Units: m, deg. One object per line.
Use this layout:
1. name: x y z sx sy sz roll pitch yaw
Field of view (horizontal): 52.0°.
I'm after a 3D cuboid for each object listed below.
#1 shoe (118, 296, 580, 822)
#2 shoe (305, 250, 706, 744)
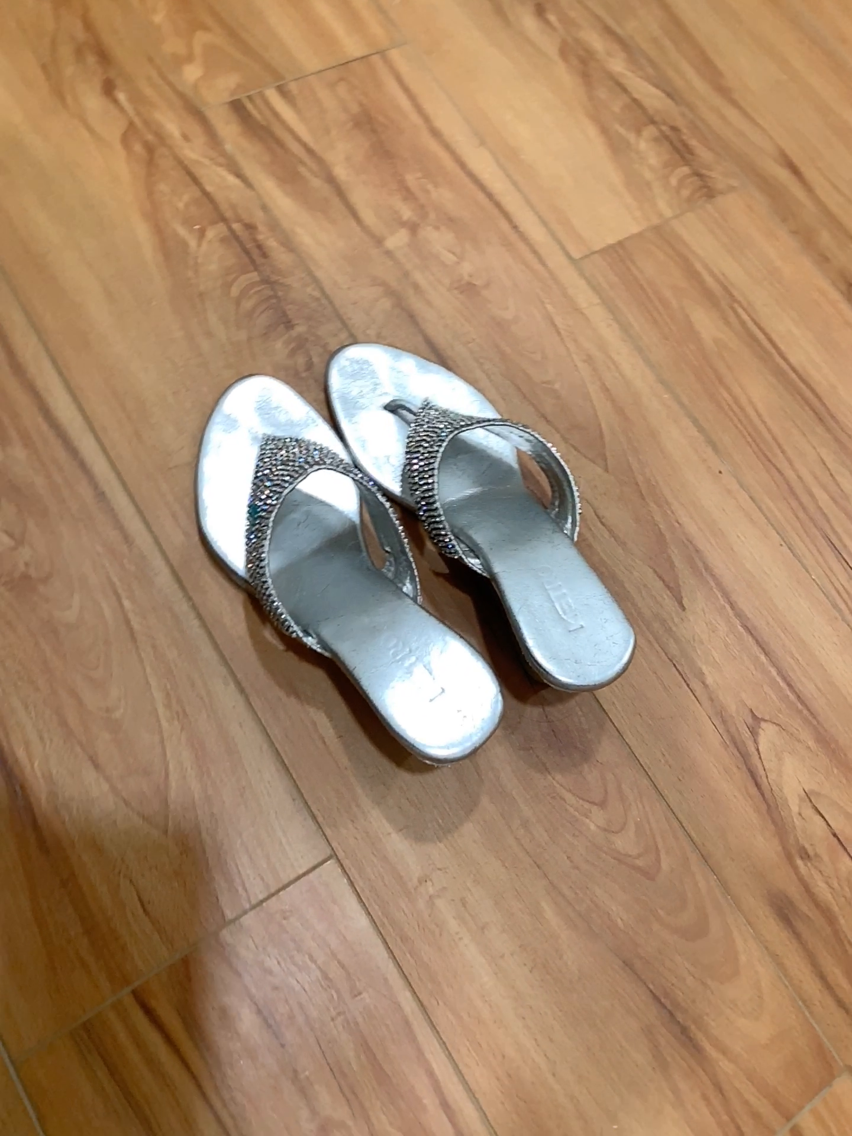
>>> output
1. shoe: -0.042 -0.006 0.421 0.095 0.073 0.228 -31 78 -19
2. shoe: 0.030 -0.038 0.444 0.085 0.073 0.228 -26 76 -18
